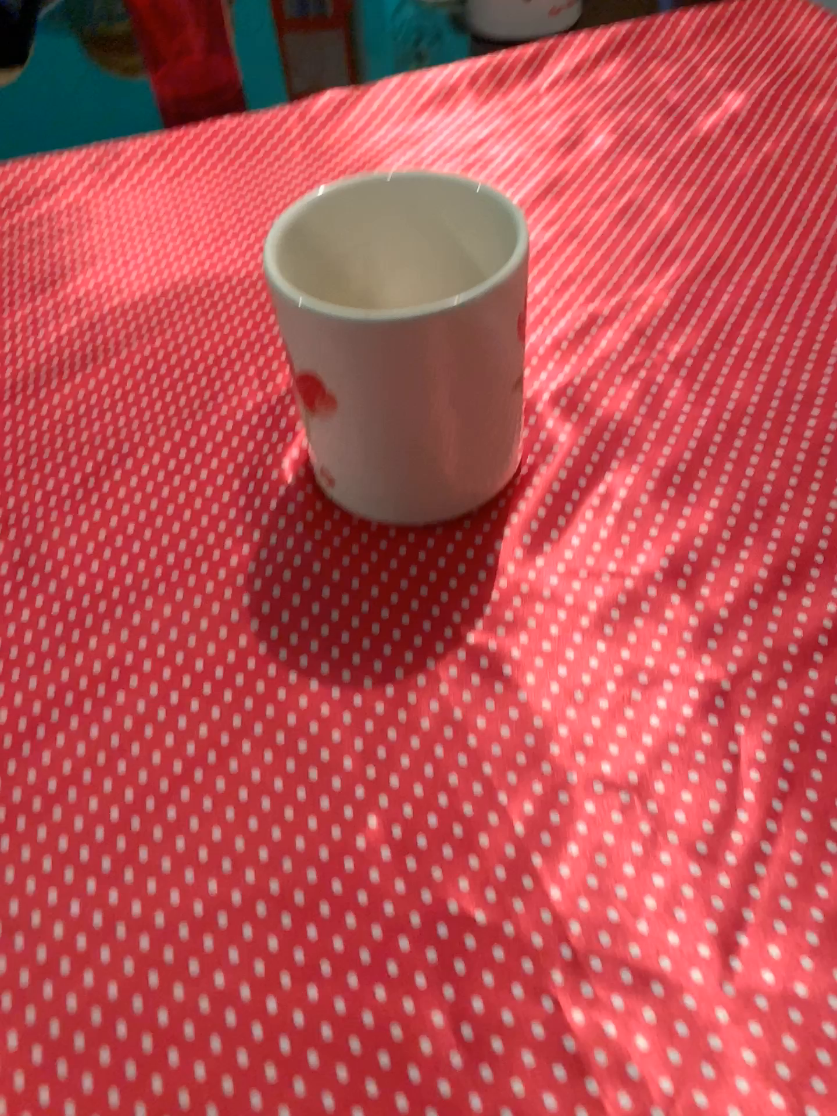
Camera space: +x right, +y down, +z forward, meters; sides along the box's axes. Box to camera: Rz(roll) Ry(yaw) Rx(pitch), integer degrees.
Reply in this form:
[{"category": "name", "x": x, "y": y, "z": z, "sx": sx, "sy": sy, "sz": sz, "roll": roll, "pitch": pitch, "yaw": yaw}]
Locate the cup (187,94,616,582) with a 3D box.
[{"category": "cup", "x": -0.009, "y": -0.078, "z": 0.295, "sx": 0.090, "sy": 0.090, "sz": 0.120, "roll": -21, "pitch": 52, "yaw": -12}]
